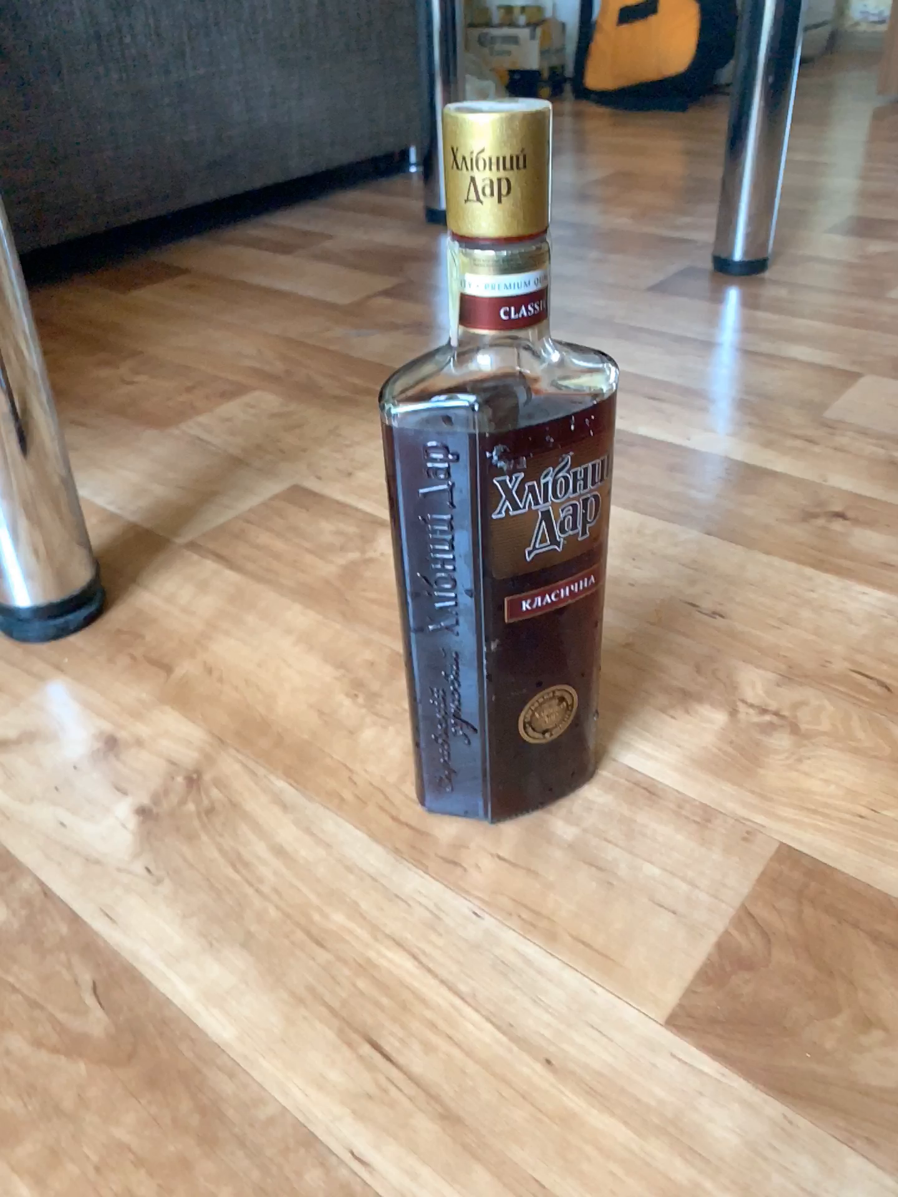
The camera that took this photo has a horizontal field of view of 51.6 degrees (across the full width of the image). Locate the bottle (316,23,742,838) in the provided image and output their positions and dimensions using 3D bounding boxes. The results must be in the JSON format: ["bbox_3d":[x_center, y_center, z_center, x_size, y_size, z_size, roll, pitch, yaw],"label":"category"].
[{"bbox_3d":[0.022,-0.034,0.289,0.090,0.239,0.050,-10,35,-9],"label":"bottle"}]
